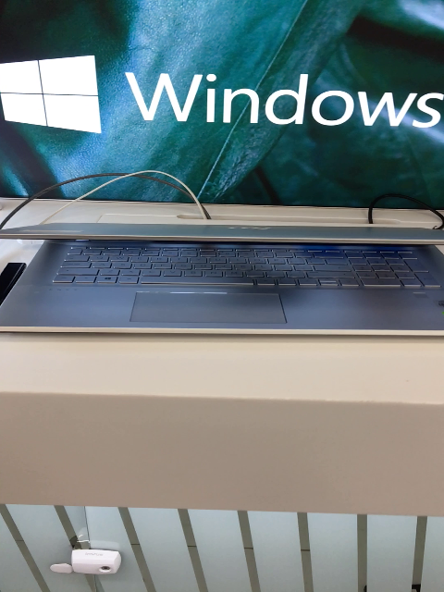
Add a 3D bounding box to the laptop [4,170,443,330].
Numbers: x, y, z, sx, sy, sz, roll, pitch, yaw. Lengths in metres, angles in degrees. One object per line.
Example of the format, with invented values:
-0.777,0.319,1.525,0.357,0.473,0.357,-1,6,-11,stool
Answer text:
0.037,-0.057,0.594,0.442,0.069,0.216,1,30,-1,laptop
